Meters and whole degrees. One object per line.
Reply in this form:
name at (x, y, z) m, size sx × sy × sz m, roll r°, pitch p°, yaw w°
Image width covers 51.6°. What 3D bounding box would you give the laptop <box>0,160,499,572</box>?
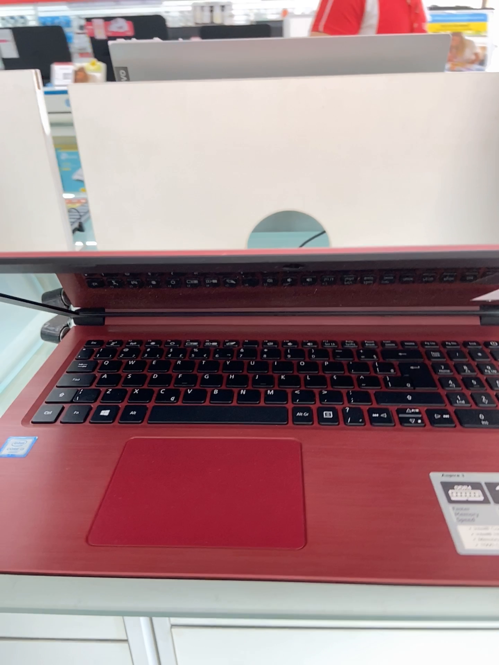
laptop at (0.023, -0.010, 0.307) m, size 0.379 × 0.132 × 0.237 m, roll 0°, pitch 27°, yaw 3°
